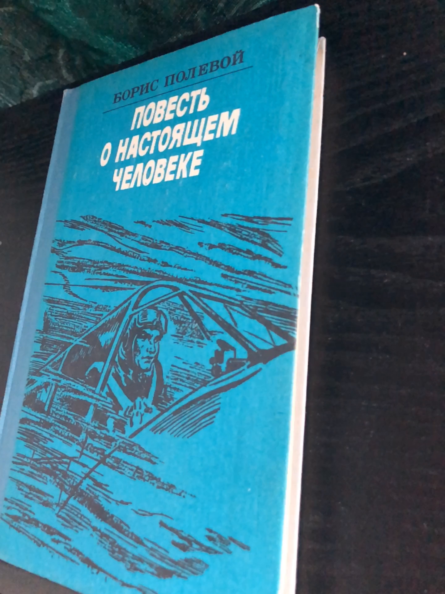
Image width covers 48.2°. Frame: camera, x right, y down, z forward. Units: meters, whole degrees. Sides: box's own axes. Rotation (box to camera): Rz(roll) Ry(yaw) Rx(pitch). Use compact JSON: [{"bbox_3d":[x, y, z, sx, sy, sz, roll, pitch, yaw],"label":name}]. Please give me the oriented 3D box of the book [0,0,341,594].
[{"bbox_3d":[-0.027,-0.003,0.174,0.123,0.019,0.190,-2,74,32],"label":"book"}]
